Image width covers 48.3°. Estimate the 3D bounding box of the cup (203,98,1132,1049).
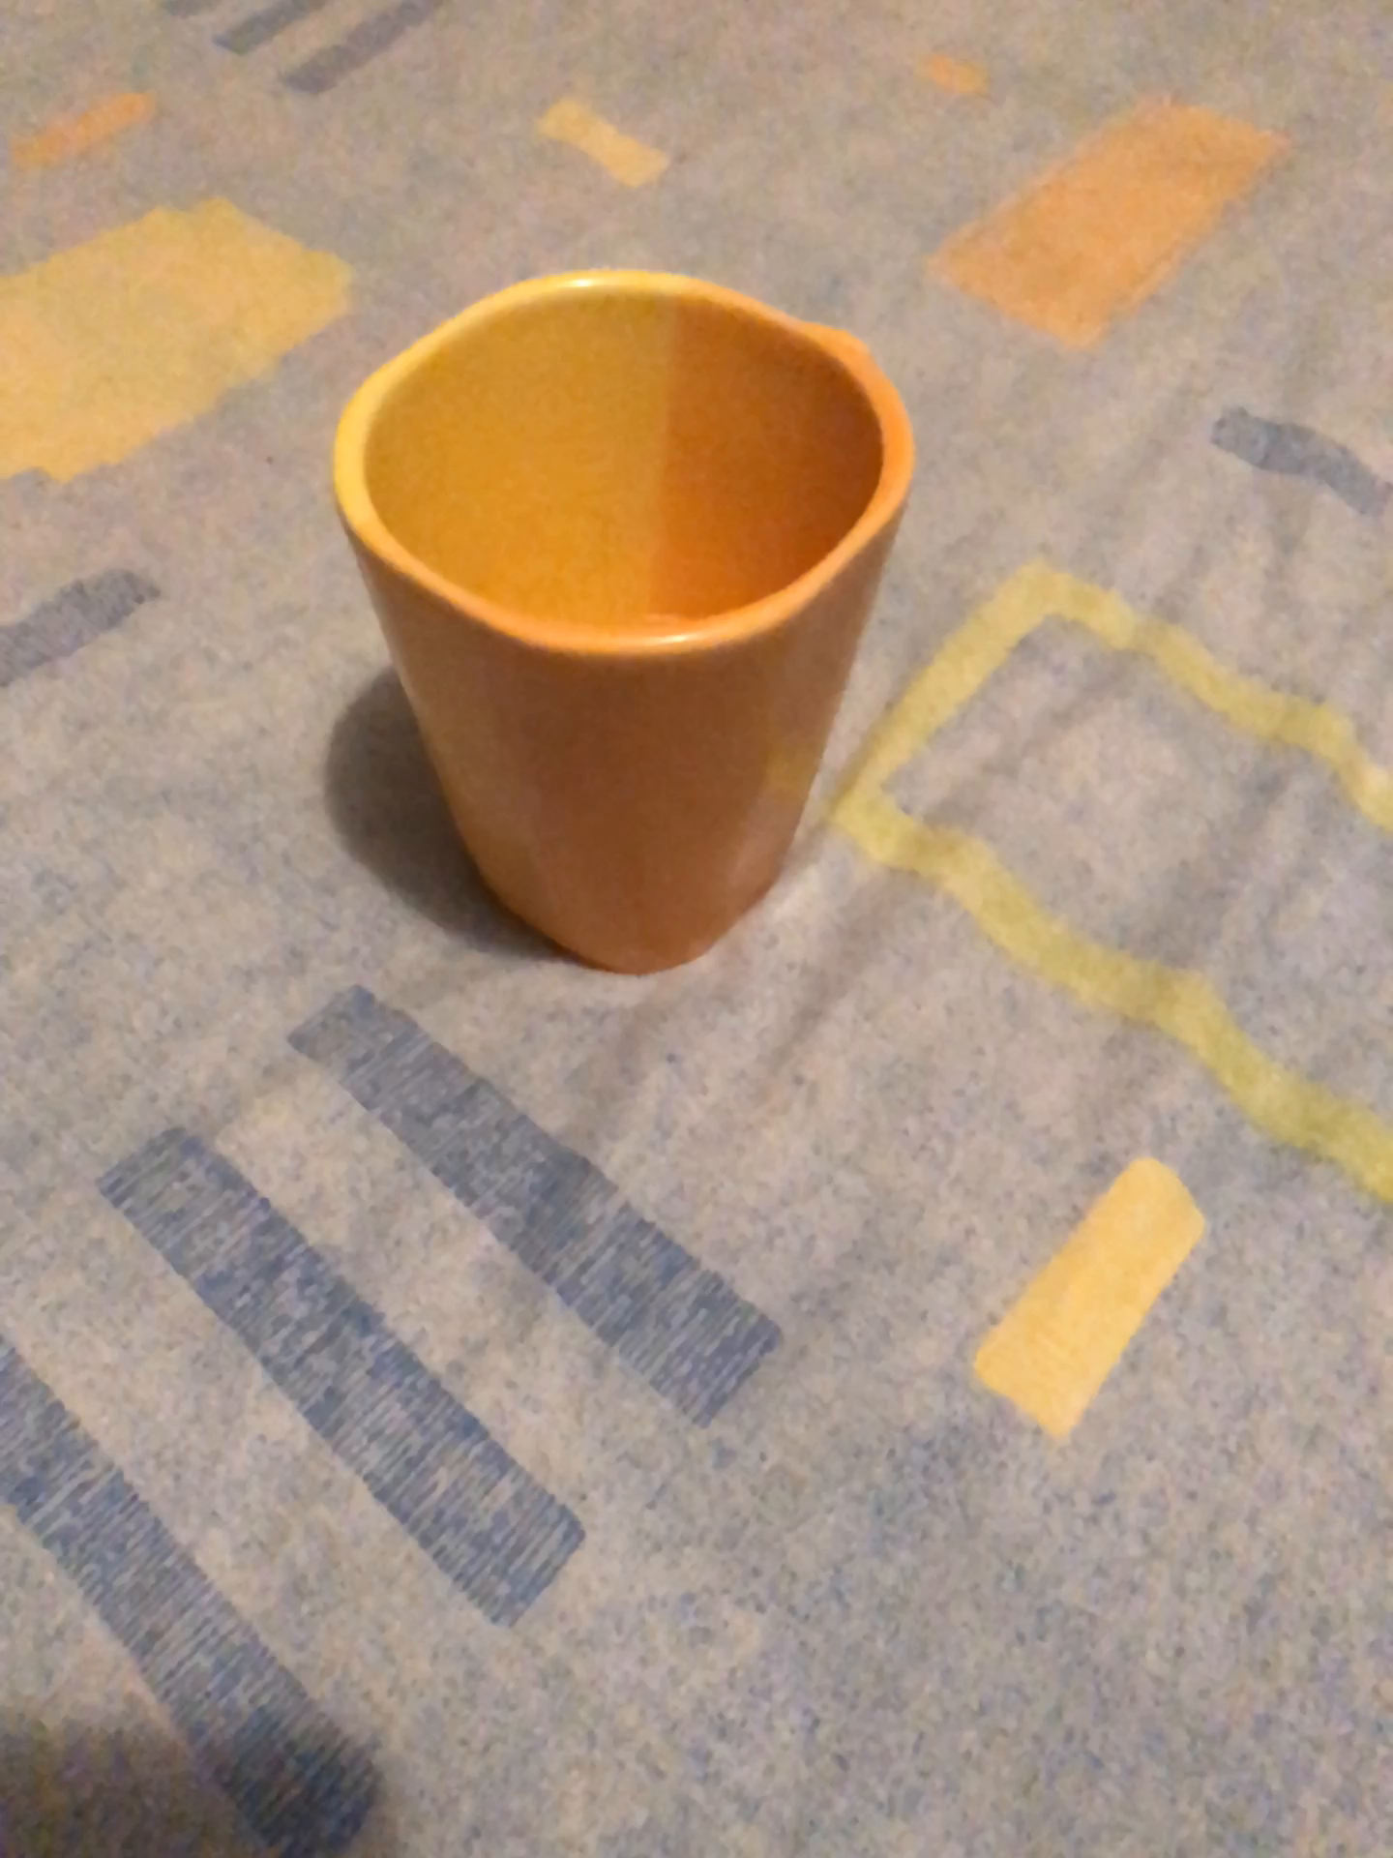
[{"bbox_3d":[-0.002,-0.061,0.260,0.084,0.082,0.111,33,61,19],"label":"cup"}]
